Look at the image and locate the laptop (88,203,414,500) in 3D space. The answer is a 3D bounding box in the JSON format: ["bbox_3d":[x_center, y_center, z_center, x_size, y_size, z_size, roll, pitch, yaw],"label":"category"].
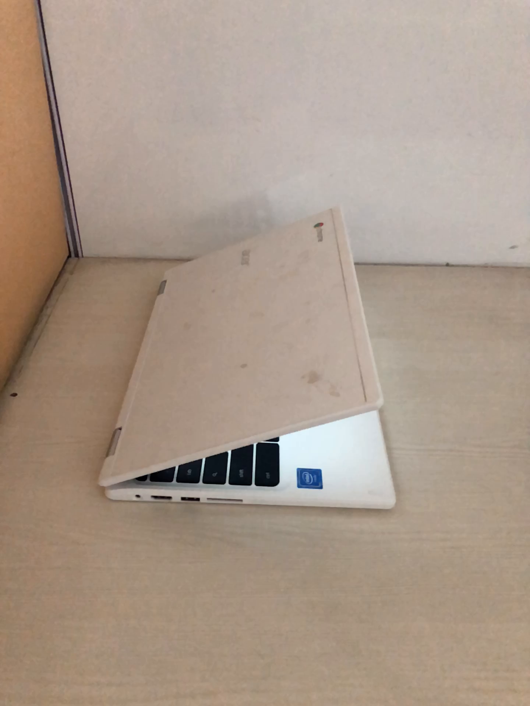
[{"bbox_3d":[-0.006,-0.024,0.497,0.200,0.092,0.285,2,38,1],"label":"laptop"}]
